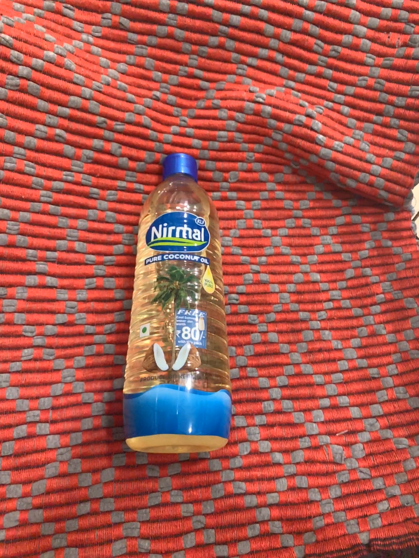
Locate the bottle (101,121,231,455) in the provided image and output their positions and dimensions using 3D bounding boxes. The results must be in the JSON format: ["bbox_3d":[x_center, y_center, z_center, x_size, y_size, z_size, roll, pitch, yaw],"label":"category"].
[{"bbox_3d":[-0.022,-0.001,0.266,0.060,0.050,0.200,1,65,-4],"label":"bottle"}]
